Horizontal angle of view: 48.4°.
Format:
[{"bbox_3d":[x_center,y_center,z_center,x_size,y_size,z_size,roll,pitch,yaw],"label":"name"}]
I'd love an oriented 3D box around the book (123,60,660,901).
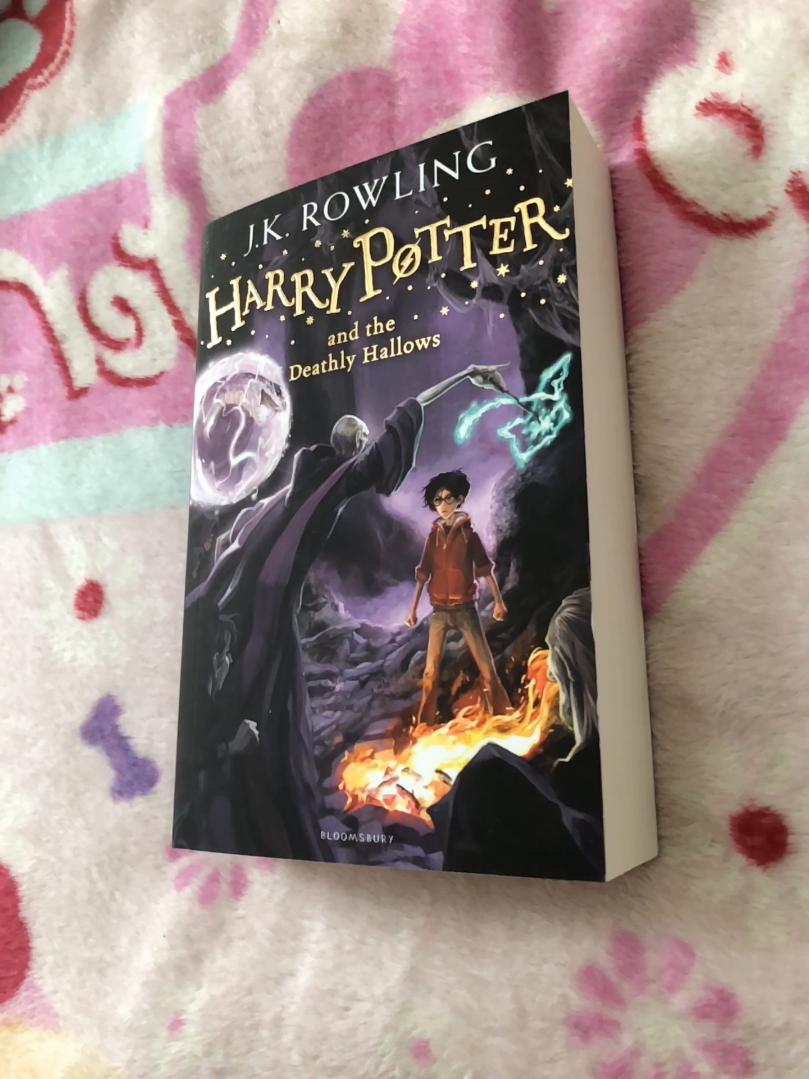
[{"bbox_3d":[-0.005,-0.010,0.251,0.126,0.060,0.187,-7,76,31],"label":"book"}]
